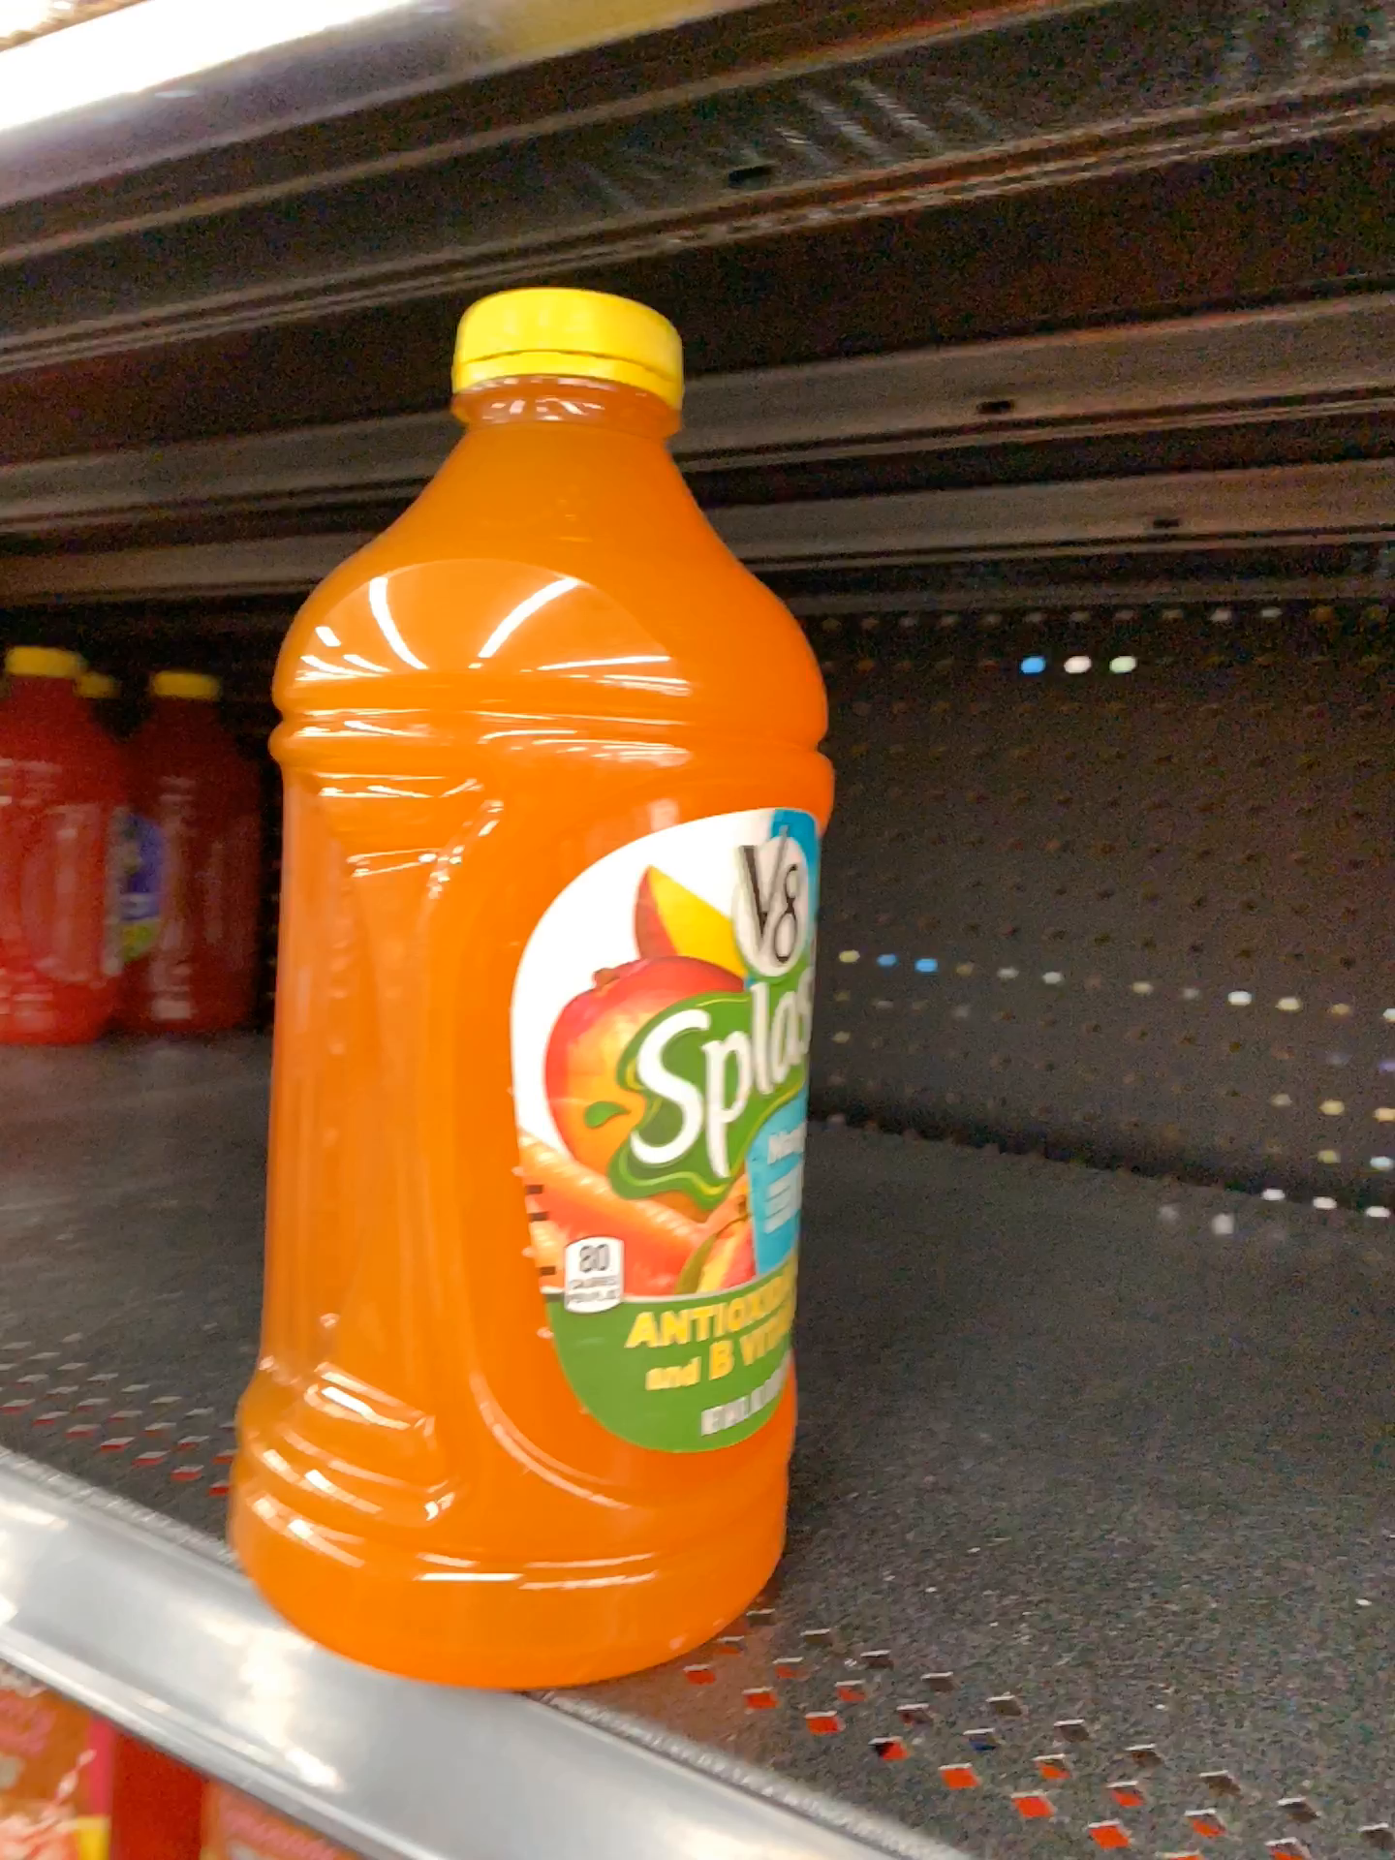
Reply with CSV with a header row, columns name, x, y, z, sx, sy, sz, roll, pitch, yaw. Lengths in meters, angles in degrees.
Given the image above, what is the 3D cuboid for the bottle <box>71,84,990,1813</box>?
name,x,y,z,sx,sy,sz,roll,pitch,yaw
bottle,-0.031,0.000,0.303,0.125,0.260,0.128,4,3,0
